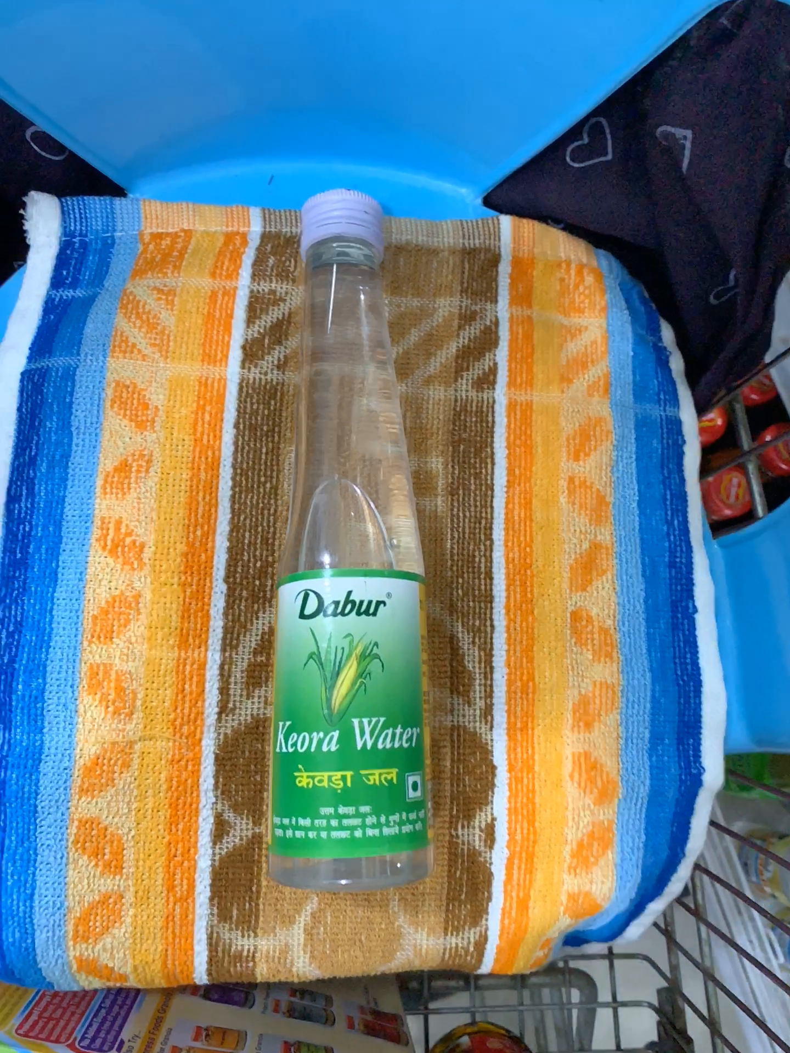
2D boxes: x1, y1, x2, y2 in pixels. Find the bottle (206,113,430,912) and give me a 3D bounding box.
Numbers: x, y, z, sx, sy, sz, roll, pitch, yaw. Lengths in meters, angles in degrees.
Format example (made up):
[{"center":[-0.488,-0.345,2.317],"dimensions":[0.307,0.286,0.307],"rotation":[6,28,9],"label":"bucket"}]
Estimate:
[{"center":[-0.022,-0.007,0.228],"dimensions":[0.050,0.050,0.200],"rotation":[-2,82,-3],"label":"bottle"}]
